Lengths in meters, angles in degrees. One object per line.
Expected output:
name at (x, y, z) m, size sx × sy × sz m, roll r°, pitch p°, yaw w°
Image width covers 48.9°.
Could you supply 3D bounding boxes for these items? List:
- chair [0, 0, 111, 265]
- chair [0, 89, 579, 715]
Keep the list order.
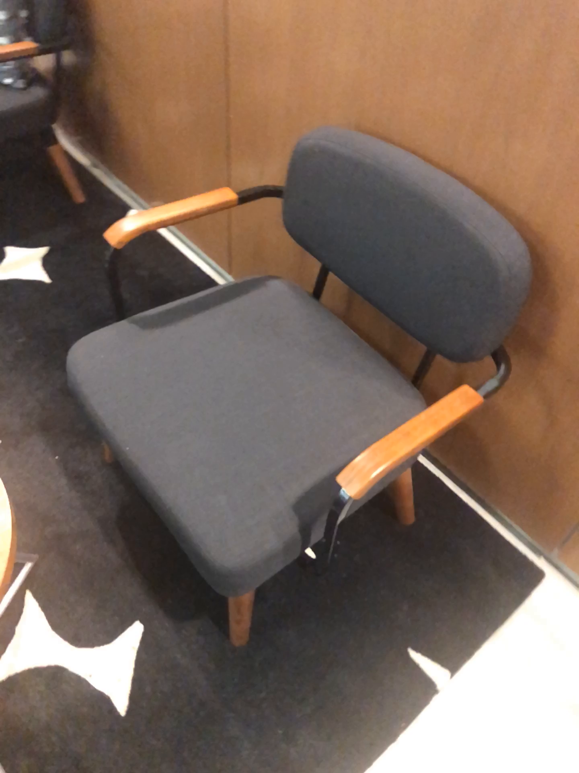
chair at (-0.981, -0.916, 1.805) m, size 0.573 × 0.714 × 0.732 m, roll -27°, pitch 56°, yaw -29°
chair at (-0.010, -0.007, 1.207) m, size 0.684 × 0.714 × 0.682 m, roll -27°, pitch 56°, yaw -29°
